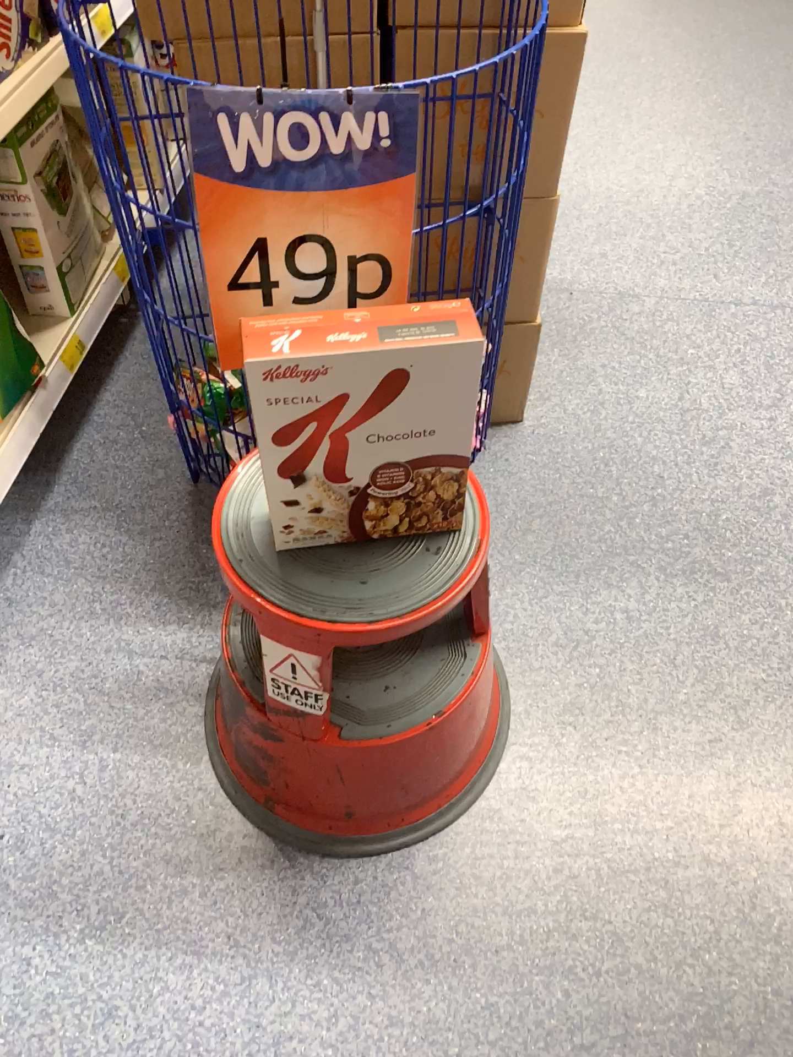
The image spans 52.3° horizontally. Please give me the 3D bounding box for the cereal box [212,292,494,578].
[{"bbox_3d":[-0.037,-0.071,0.721,0.210,0.268,0.061,-5,50,-6],"label":"cereal box"}]
